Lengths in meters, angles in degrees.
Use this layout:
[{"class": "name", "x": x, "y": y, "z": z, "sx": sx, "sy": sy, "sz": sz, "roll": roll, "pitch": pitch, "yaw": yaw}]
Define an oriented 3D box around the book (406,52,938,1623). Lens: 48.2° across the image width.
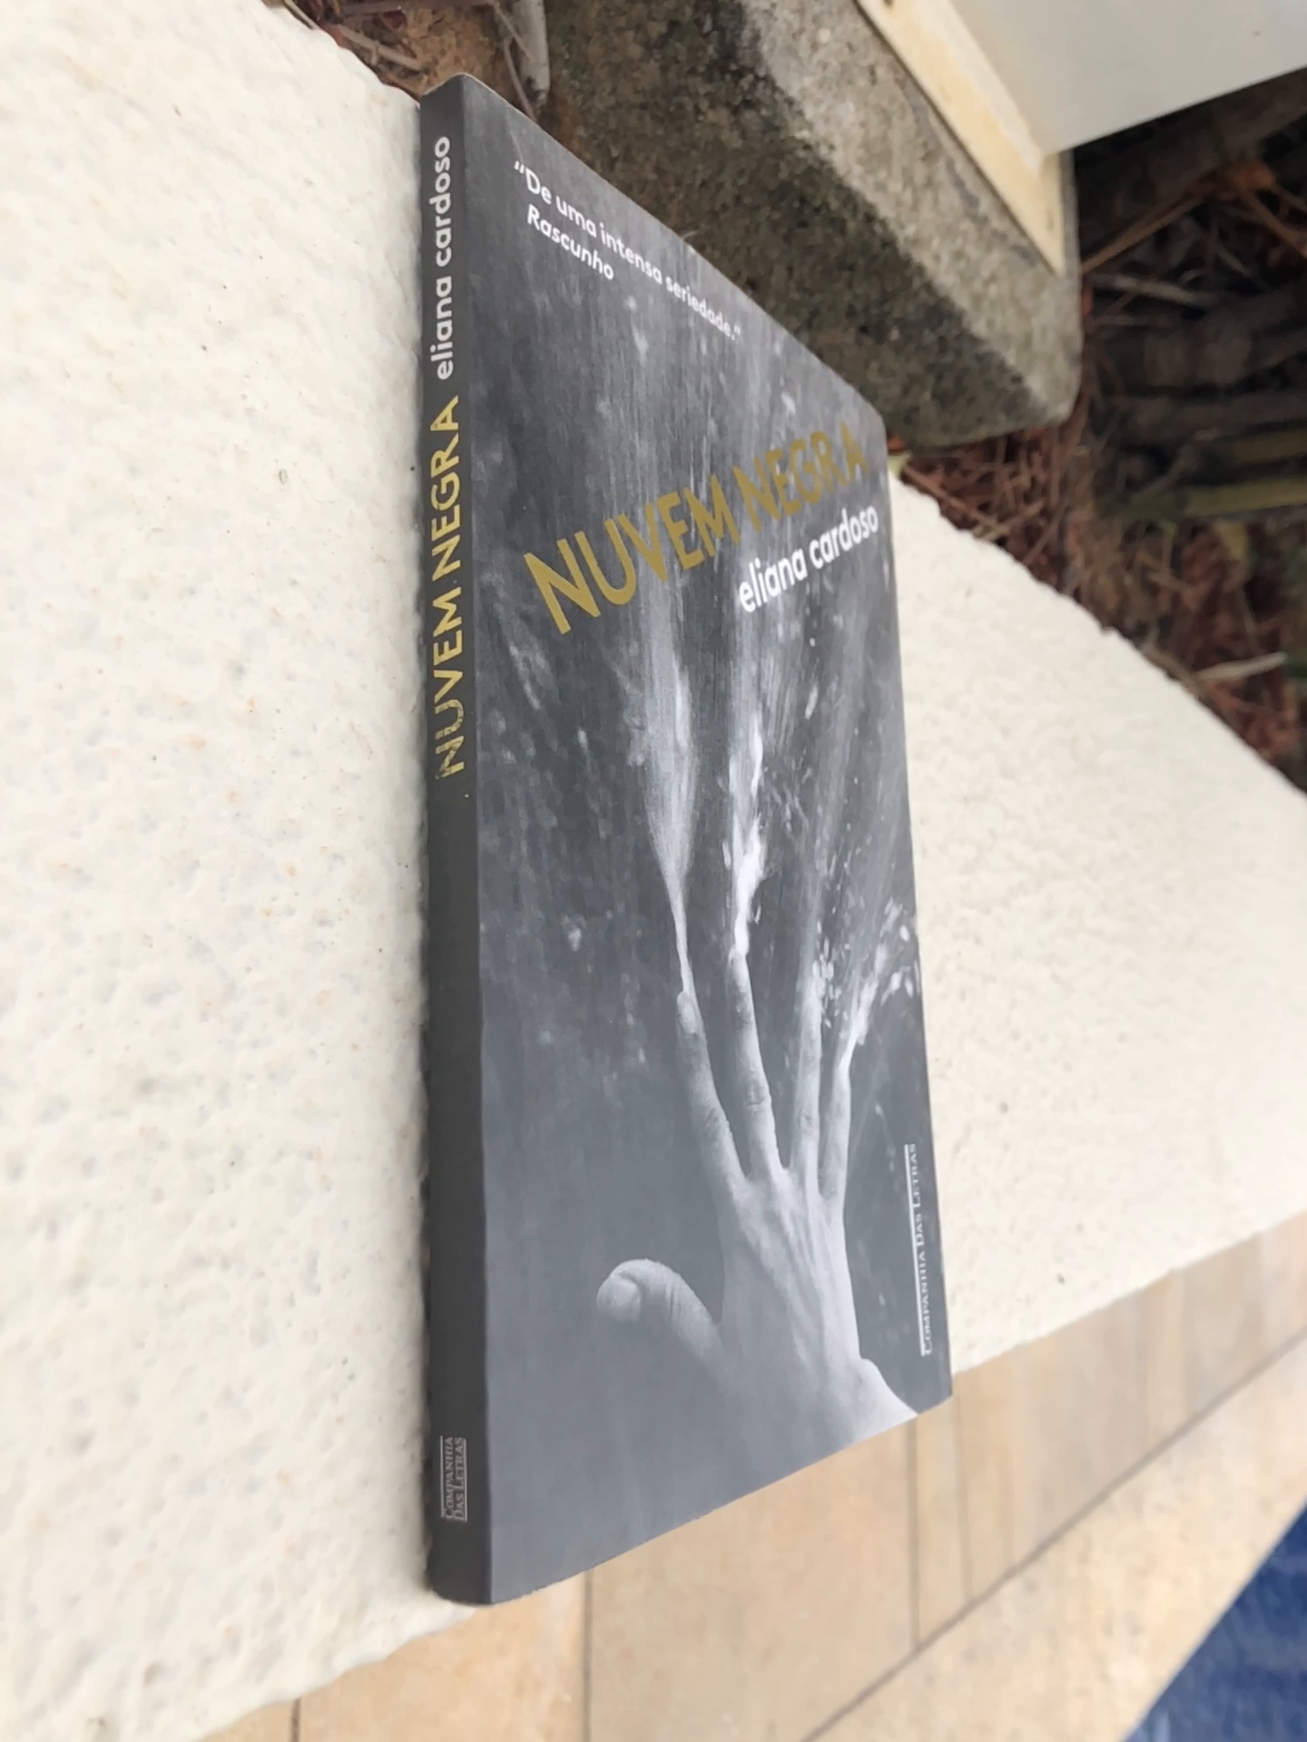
[{"class": "book", "x": 0.011, "y": -0.003, "z": 0.246, "sx": 0.141, "sy": 0.013, "sz": 0.200, "roll": 13, "pitch": 73, "yaw": -57}]
